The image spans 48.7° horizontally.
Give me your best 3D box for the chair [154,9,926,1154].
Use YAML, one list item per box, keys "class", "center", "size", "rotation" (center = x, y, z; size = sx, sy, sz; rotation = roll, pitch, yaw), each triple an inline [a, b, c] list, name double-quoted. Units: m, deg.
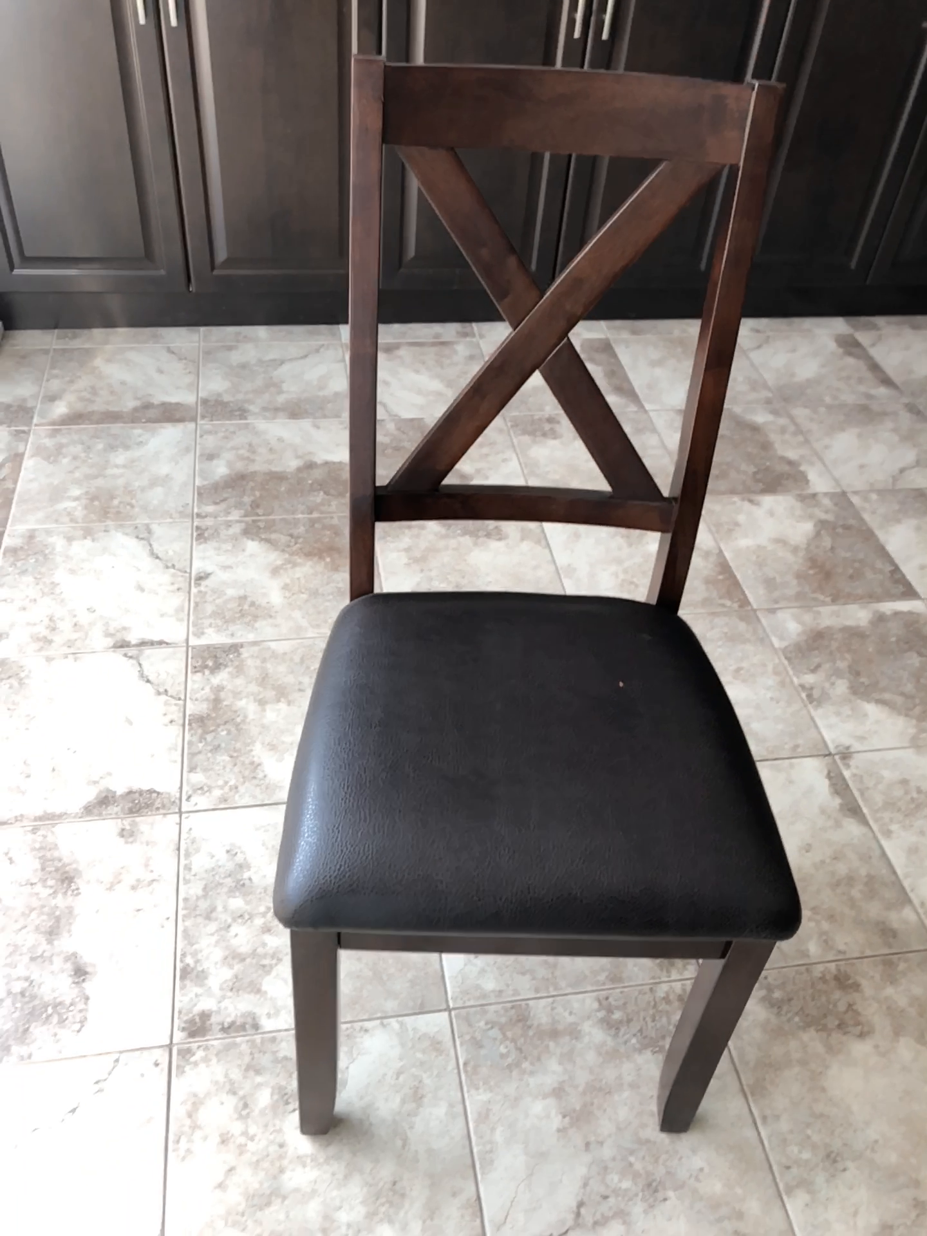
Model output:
- class: "chair"
  center: [0.067, 0.025, 1.005]
  size: [0.480, 0.936, 0.602]
  rotation: [3, 43, -3]
